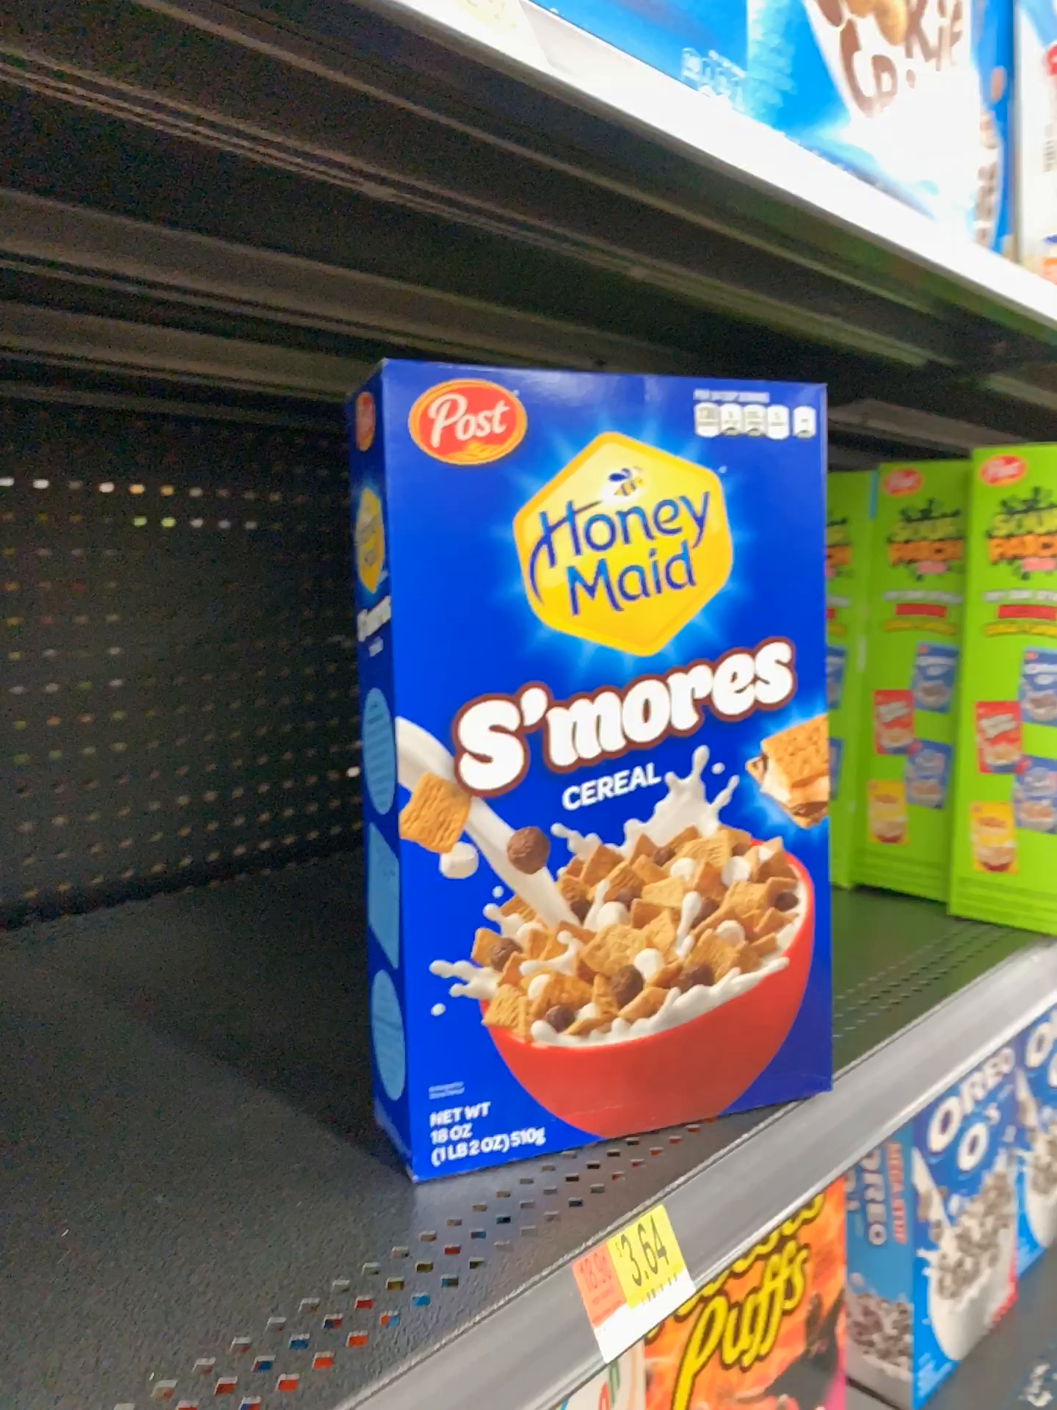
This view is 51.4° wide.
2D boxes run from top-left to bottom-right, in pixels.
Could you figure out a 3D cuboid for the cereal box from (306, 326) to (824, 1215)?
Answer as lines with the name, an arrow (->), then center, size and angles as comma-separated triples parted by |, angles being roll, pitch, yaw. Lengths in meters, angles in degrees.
cereal box -> 0.019, 0.020, 0.462 | 0.200, 0.320, 0.070 | -3, 4, -22
